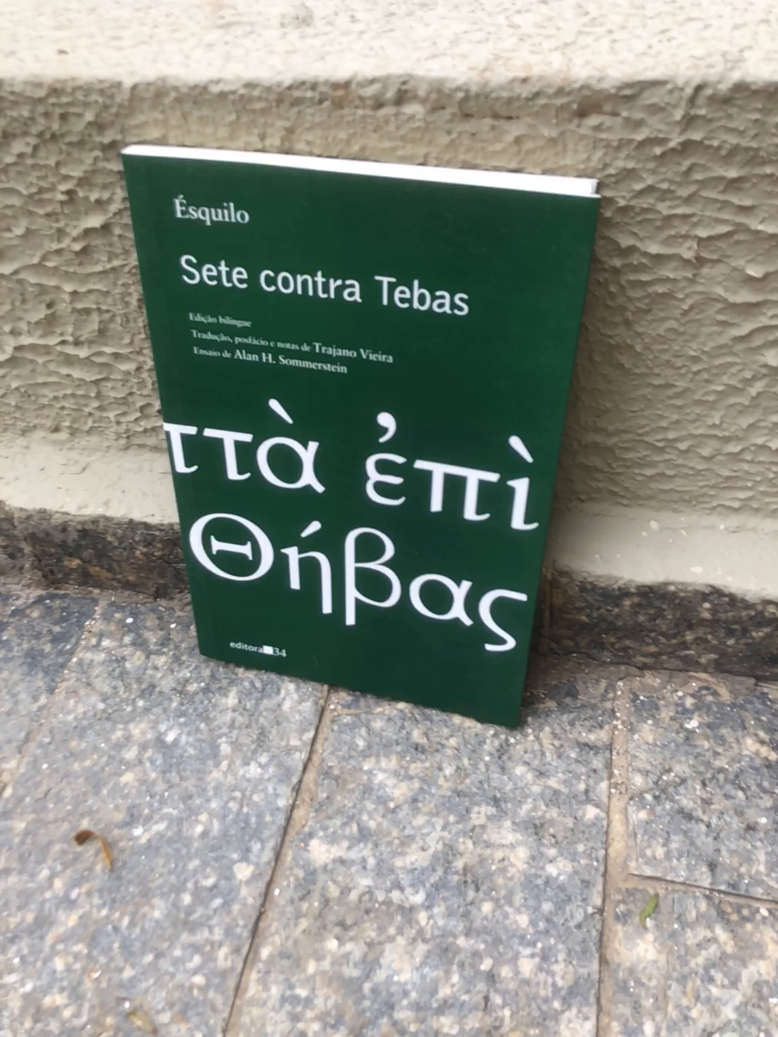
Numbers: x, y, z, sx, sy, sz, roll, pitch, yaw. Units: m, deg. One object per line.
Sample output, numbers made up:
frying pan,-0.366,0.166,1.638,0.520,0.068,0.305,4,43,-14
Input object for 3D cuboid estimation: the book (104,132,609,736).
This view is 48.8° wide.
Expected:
book,-0.012,-0.019,0.288,0.140,0.195,0.020,10,34,15
